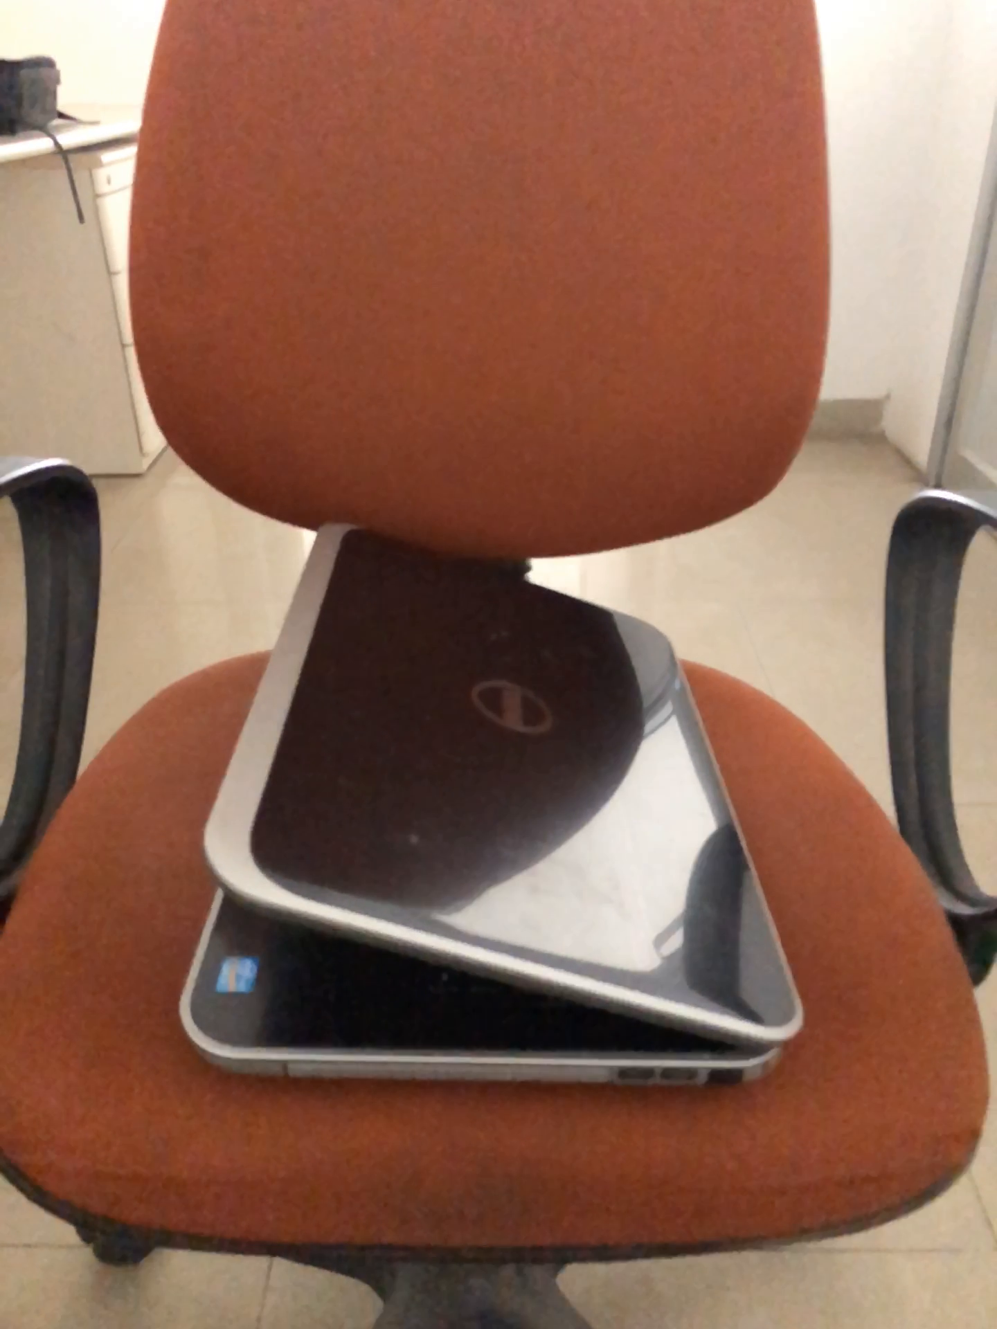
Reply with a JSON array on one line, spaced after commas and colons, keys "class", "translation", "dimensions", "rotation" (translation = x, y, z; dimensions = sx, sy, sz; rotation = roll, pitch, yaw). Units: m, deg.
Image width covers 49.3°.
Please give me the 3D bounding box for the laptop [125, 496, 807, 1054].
[{"class": "laptop", "translation": [-0.011, 0.021, 0.556], "dimensions": [0.233, 0.090, 0.368], "rotation": [2, 28, -2]}]
